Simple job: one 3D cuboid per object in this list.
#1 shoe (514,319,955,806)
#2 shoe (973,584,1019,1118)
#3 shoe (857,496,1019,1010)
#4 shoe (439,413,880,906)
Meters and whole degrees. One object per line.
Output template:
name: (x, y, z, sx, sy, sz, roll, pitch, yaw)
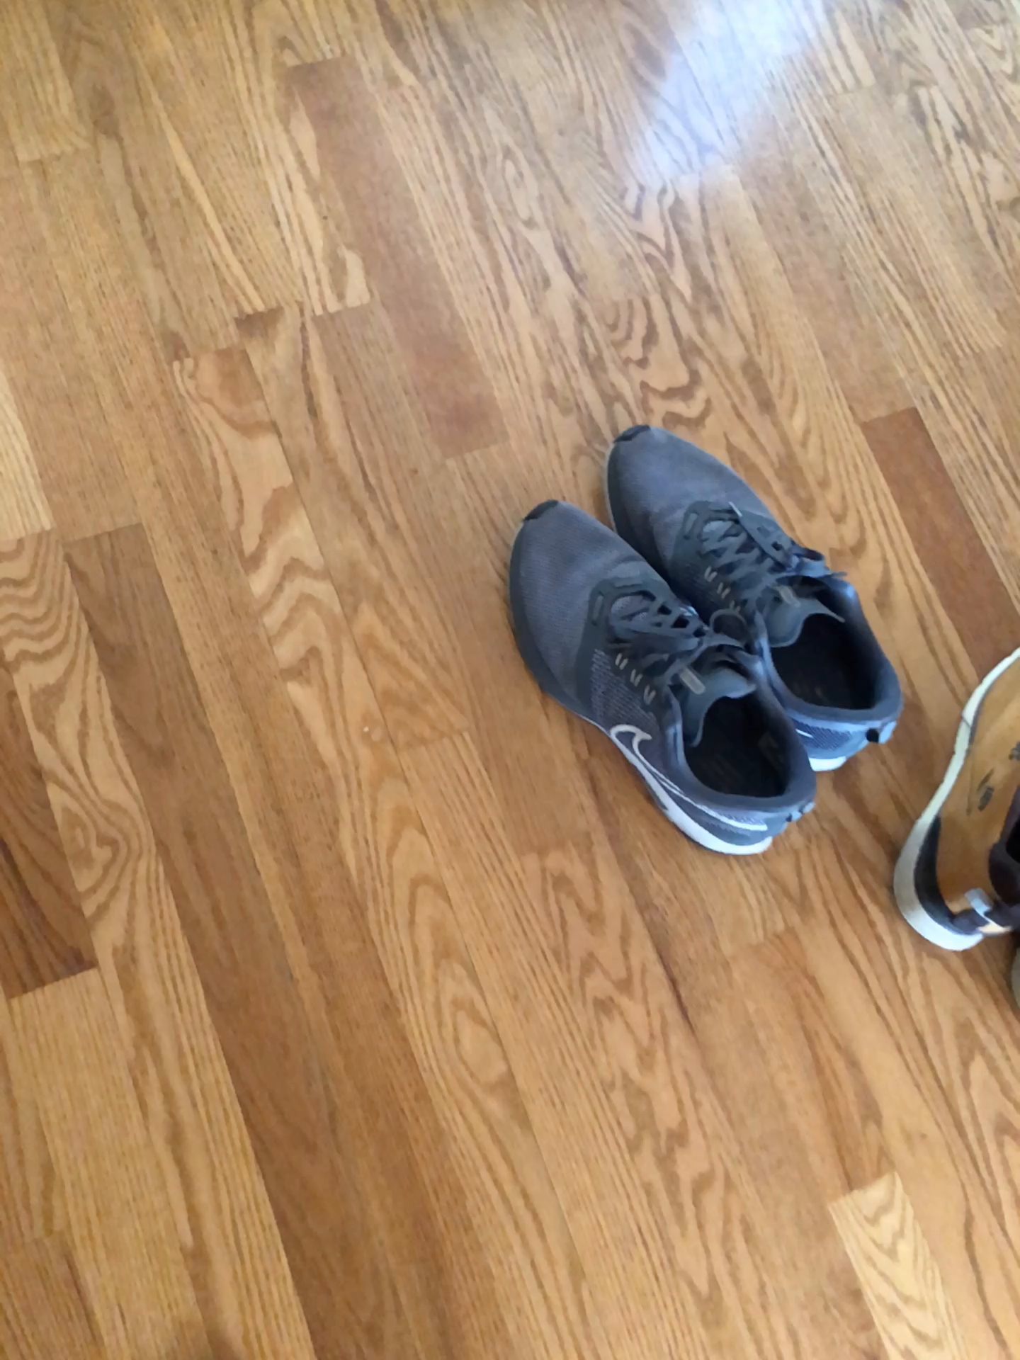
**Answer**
shoe: (0.160, -0.087, 0.848, 0.140, 0.100, 0.330, -32, 82, -15)
shoe: (0.482, 0.114, 0.777, 0.130, 0.140, 0.320, 35, 73, 1)
shoe: (0.403, 0.053, 0.786, 0.130, 0.140, 0.320, 35, 73, 1)
shoe: (0.100, -0.013, 0.818, 0.140, 0.100, 0.320, -32, 82, -15)
